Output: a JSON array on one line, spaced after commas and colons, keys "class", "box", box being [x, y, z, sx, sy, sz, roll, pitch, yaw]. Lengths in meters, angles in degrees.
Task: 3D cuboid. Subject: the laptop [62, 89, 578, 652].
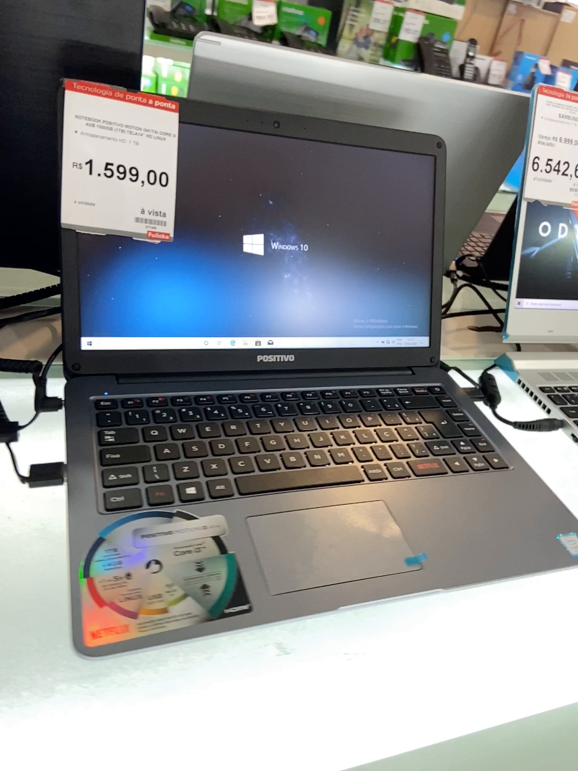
[{"class": "laptop", "box": [0.021, -0.049, 0.401, 0.319, 0.171, 0.325, -2, 36, -21]}]
